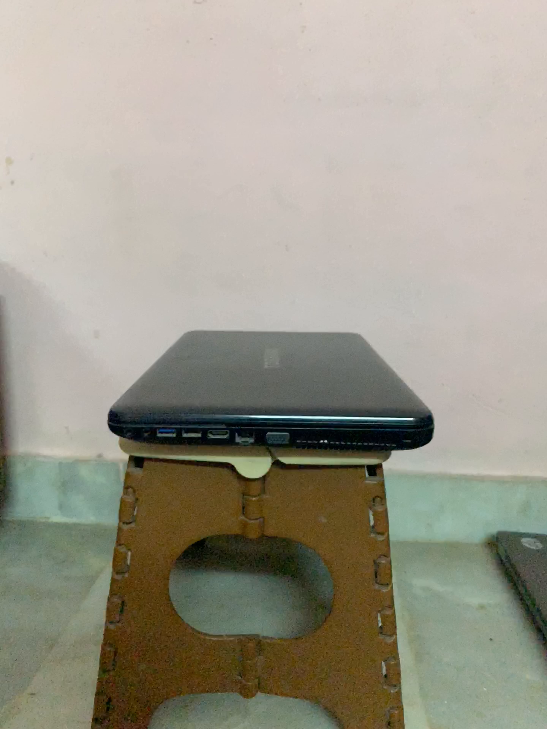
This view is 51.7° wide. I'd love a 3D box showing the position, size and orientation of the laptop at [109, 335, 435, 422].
[{"bbox_3d":[-0.001,0.001,0.589,0.236,0.001,0.370,1,12,0],"label":"laptop"}]
